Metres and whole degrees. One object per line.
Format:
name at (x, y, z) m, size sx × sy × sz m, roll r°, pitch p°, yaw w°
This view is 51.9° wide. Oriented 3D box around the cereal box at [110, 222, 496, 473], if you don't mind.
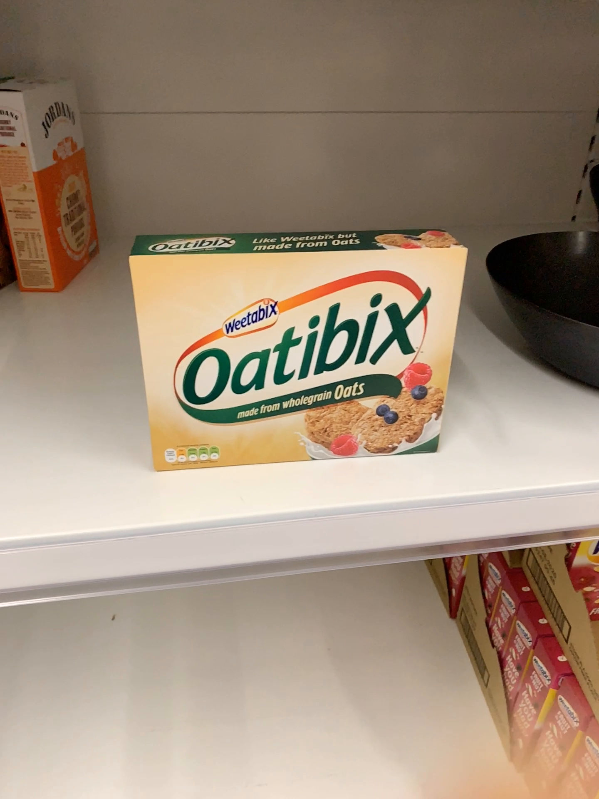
cereal box at (0.001, -0.042, 0.501) m, size 0.270 × 0.178 × 0.071 m, roll -3°, pitch 31°, yaw -7°
